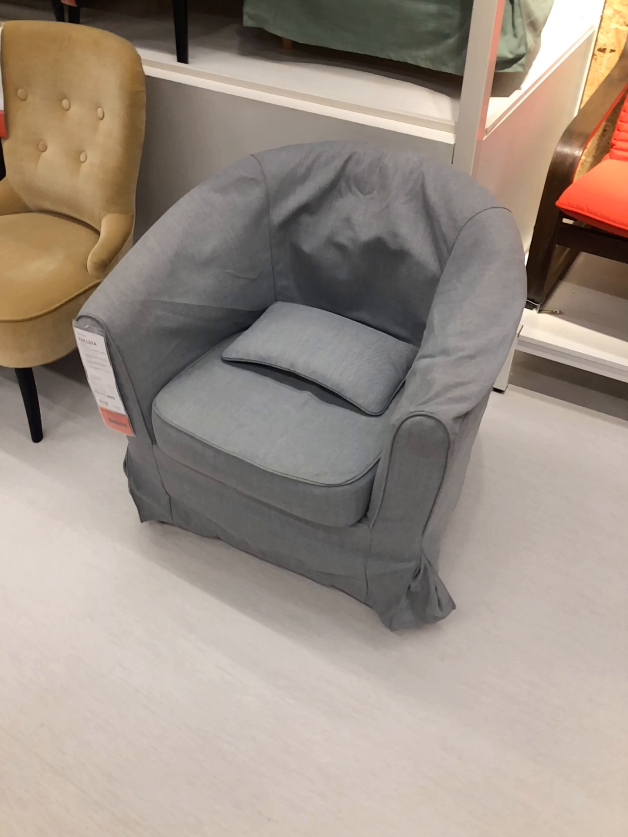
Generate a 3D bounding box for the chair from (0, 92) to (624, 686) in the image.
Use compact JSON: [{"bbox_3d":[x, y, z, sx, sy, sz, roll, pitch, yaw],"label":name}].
[{"bbox_3d":[0.035,-0.106,1.489,0.871,0.795,0.723,20,49,20],"label":"chair"}]
